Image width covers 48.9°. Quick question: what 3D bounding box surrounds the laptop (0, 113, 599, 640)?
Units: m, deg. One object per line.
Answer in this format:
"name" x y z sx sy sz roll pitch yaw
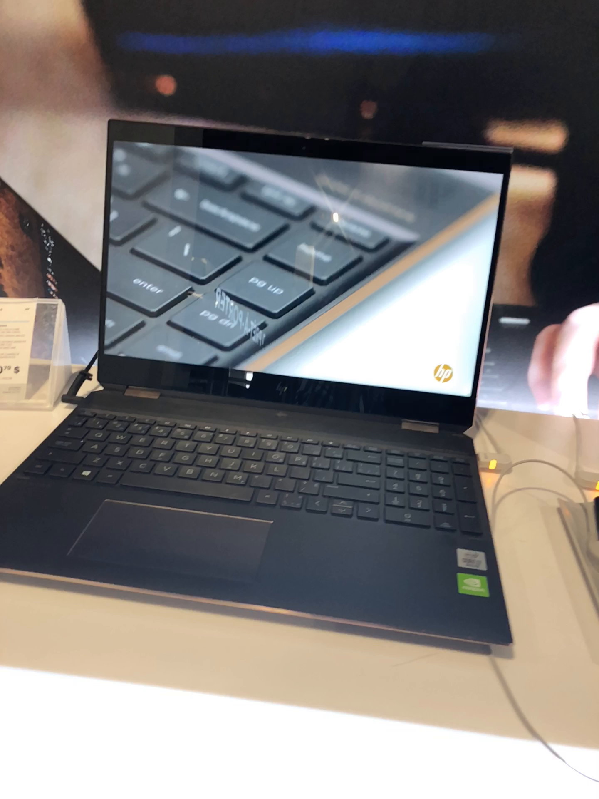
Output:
"laptop" -0.029 -0.058 0.468 0.332 0.226 0.323 7 25 3
